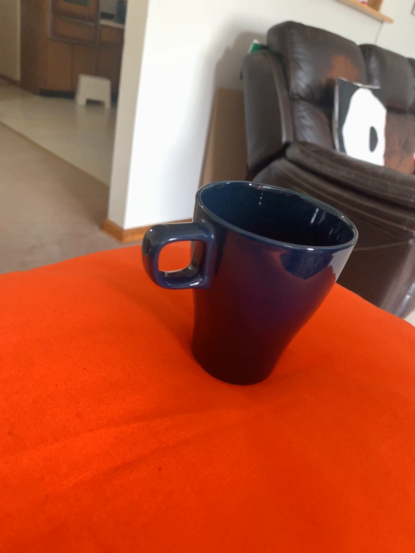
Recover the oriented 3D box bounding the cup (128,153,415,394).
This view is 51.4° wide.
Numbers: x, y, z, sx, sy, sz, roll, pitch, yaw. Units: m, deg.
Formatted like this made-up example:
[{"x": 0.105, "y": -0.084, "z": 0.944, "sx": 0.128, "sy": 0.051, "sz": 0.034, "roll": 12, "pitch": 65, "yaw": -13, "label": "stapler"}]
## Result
[{"x": 0.034, "y": -0.010, "z": 0.225, "sx": 0.120, "sy": 0.079, "sz": 0.080, "roll": -6, "pitch": 32, "yaw": -32, "label": "cup"}]
